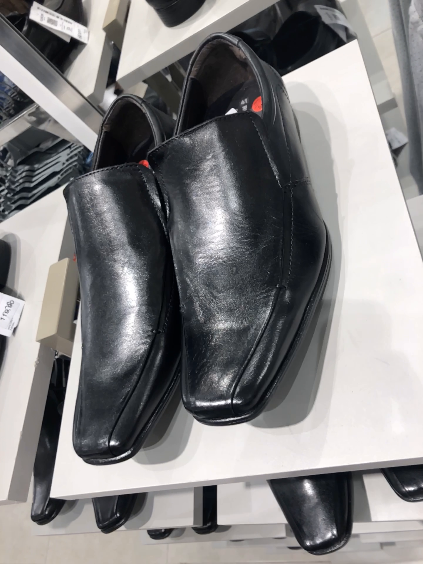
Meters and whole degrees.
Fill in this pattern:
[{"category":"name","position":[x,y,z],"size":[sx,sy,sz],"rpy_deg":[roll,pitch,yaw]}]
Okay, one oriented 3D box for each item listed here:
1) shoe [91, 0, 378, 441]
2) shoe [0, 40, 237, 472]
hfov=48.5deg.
[{"category":"shoe","position":[0.020,-0.054,0.310],"size":[0.110,0.099,0.281],"rpy_deg":[-17,54,29]},{"category":"shoe","position":[-0.055,-0.027,0.357],"size":[0.110,0.099,0.301],"rpy_deg":[-17,54,29]}]
